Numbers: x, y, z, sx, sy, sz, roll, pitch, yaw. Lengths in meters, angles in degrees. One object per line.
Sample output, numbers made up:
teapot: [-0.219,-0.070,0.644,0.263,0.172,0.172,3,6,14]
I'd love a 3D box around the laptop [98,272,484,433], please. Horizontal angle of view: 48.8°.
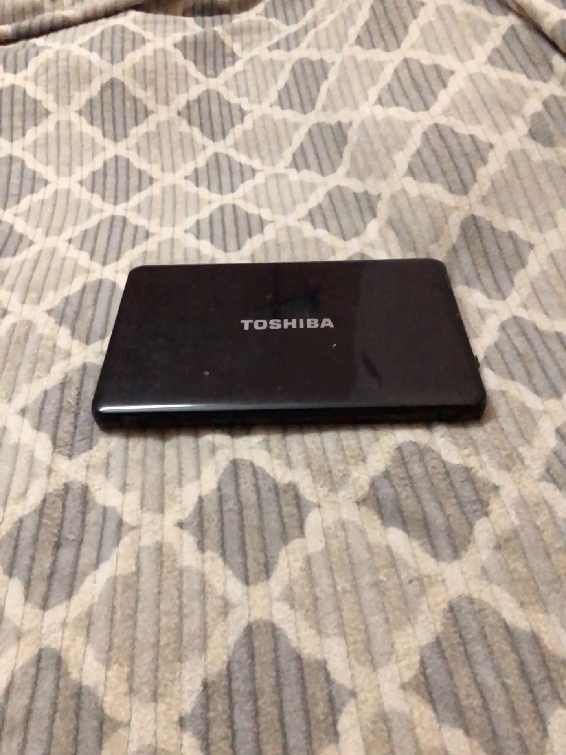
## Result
laptop: [0.004,-0.039,0.707,0.375,0.023,0.250,-1,42,1]
